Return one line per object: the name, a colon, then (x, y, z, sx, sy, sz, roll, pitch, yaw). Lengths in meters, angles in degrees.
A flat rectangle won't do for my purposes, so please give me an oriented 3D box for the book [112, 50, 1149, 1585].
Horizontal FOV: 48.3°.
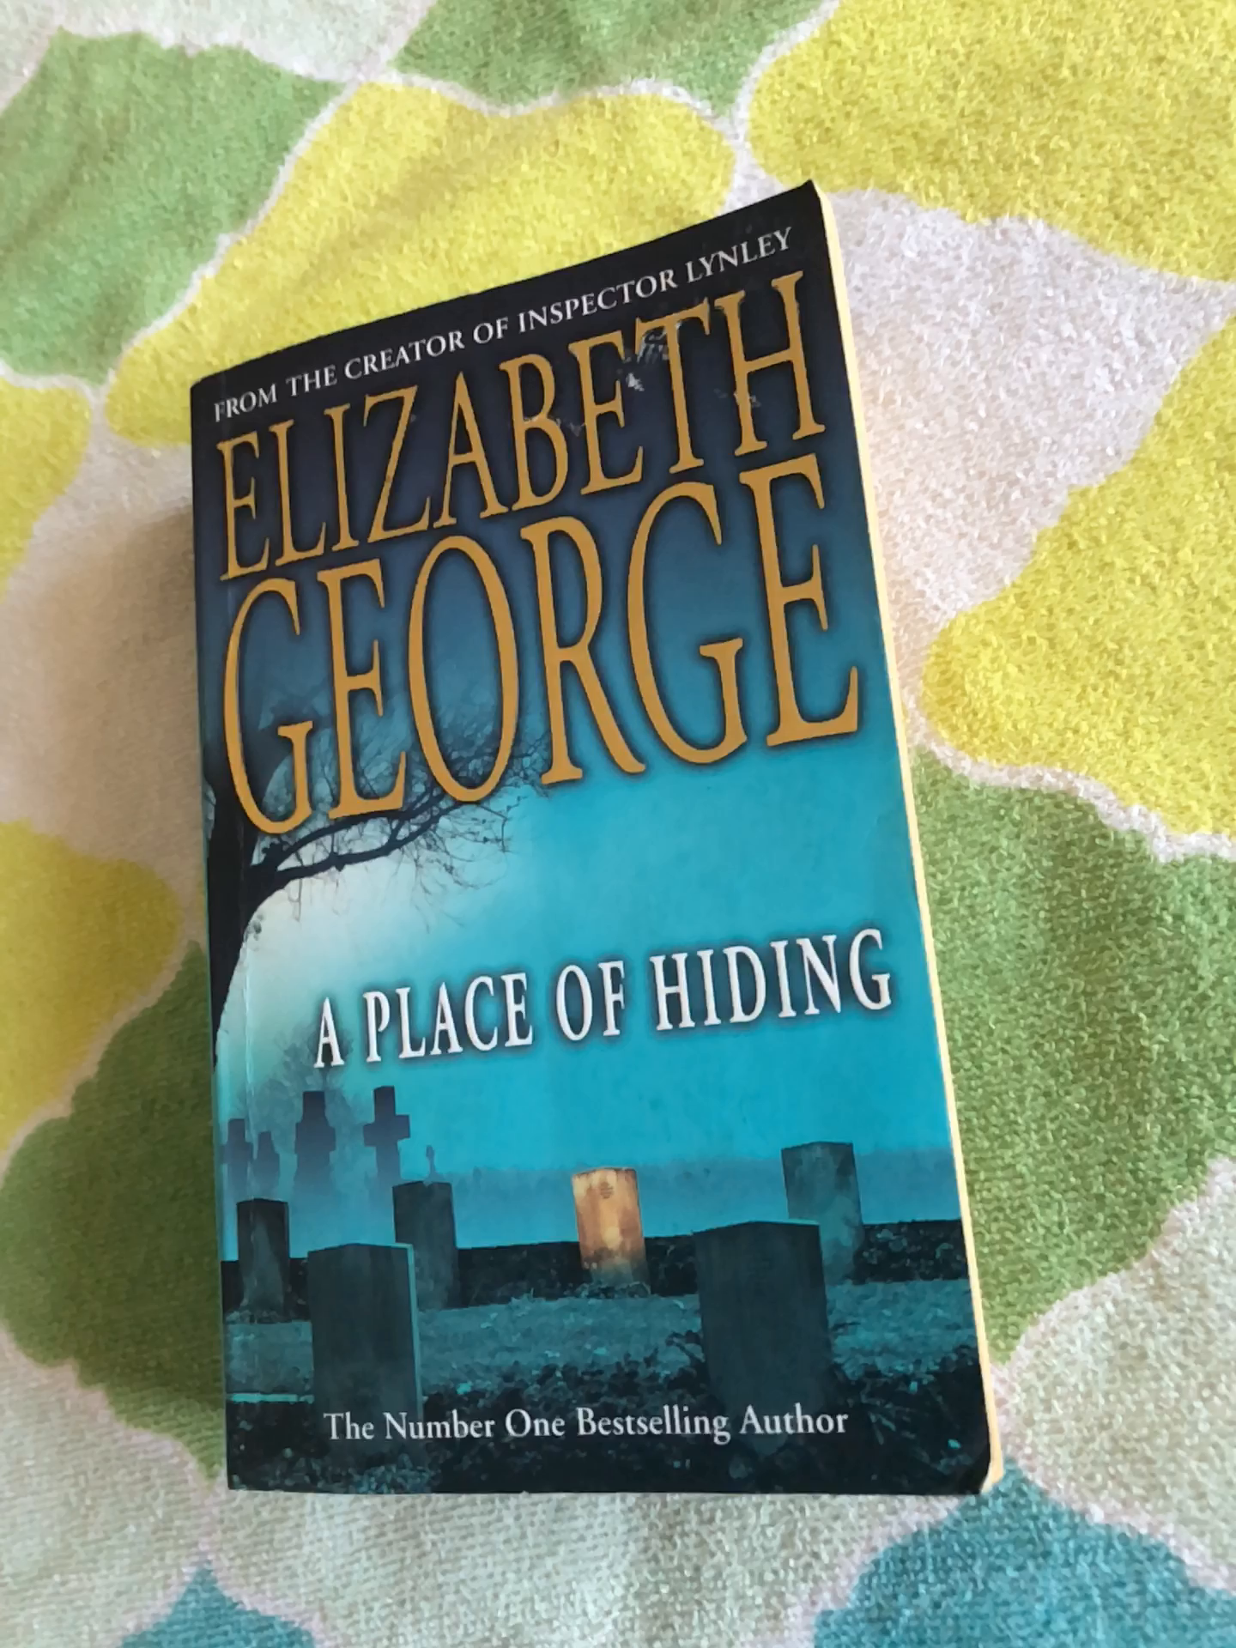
book: (-0.001, 0.002, 0.237, 0.130, 0.070, 0.210, -9, 82, 12)
